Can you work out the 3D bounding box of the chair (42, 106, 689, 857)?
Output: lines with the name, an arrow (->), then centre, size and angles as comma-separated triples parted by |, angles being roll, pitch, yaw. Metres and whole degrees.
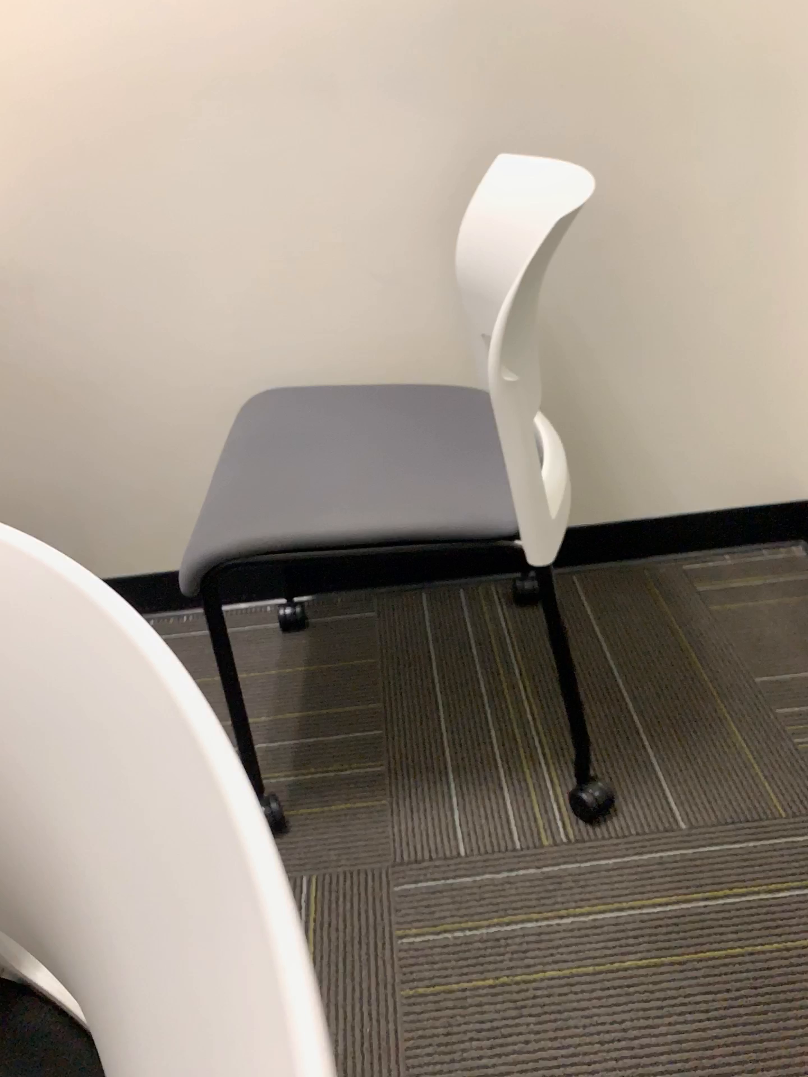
chair -> -0.014, -0.102, 1.158 | 0.540, 0.805, 0.604 | -5, 31, 0
